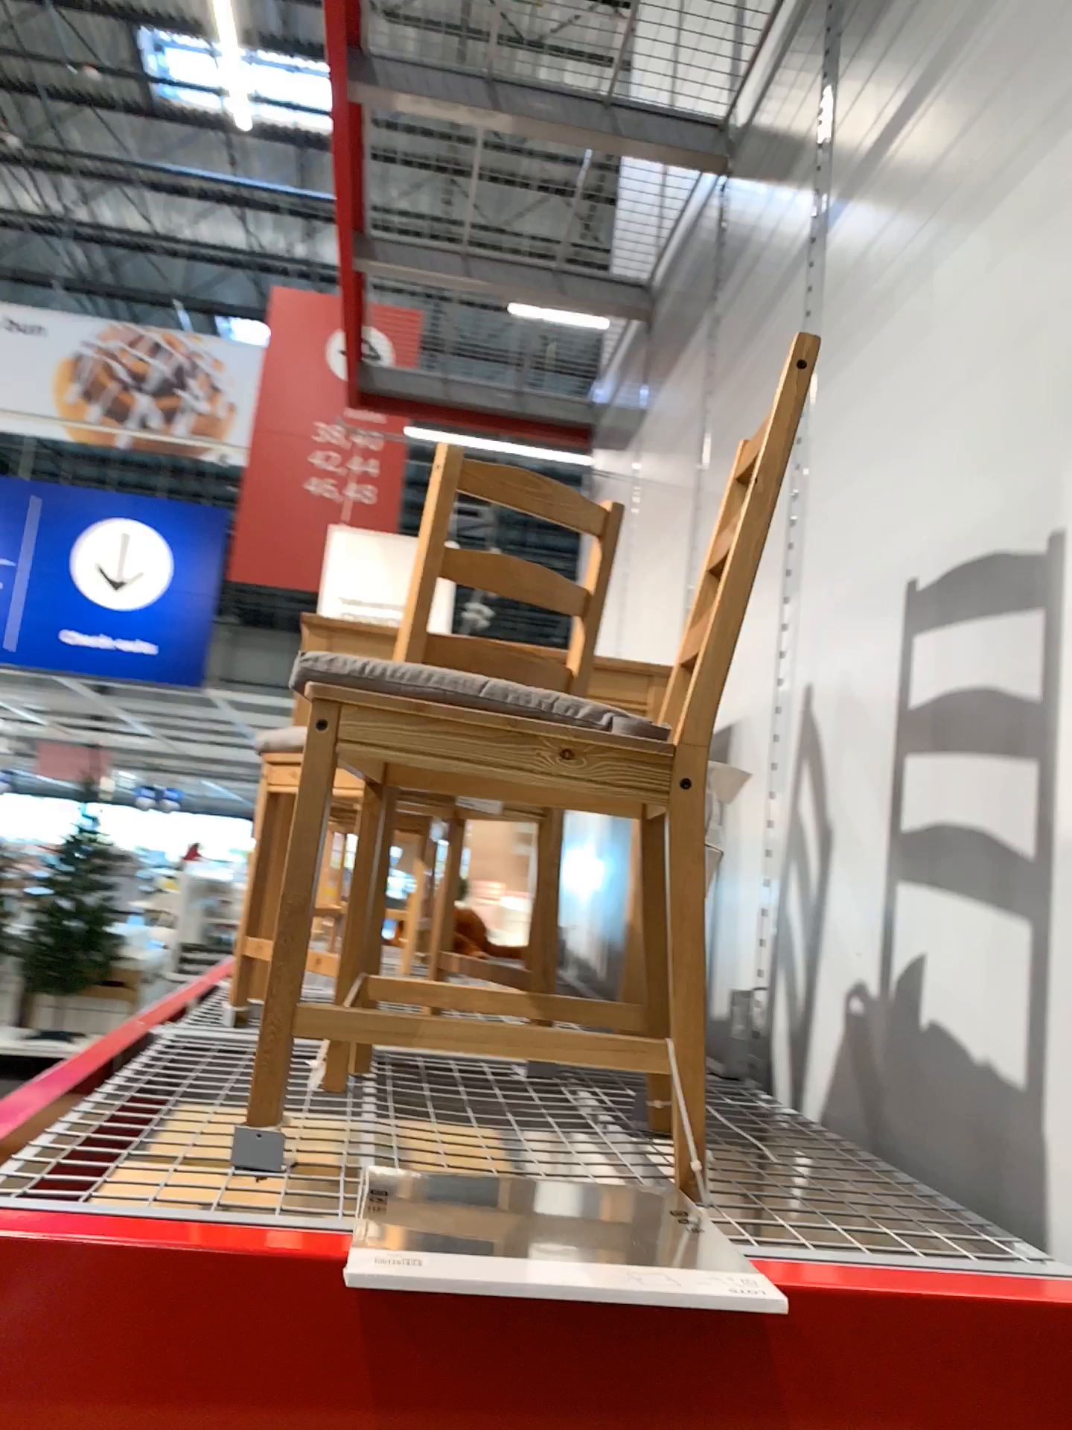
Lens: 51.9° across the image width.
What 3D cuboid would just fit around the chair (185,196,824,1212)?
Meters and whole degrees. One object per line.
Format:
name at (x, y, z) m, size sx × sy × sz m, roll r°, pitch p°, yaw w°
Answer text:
chair at (-0.019, -0.008, 1.249) m, size 0.500 × 0.912 × 0.439 m, roll 7°, pitch -9°, yaw -3°
